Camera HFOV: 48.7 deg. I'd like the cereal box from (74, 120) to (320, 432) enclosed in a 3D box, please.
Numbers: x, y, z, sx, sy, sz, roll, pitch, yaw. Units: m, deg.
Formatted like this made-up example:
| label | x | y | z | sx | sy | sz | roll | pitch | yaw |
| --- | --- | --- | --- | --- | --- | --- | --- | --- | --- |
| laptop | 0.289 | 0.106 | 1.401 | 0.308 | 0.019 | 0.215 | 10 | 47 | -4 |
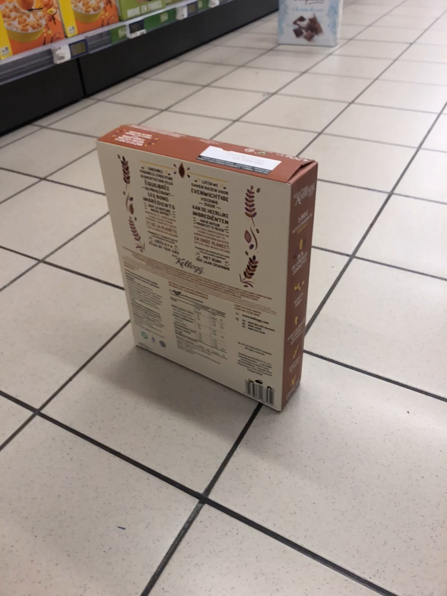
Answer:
| label | x | y | z | sx | sy | sz | roll | pitch | yaw |
| --- | --- | --- | --- | --- | --- | --- | --- | --- | --- |
| cereal box | -0.025 | -0.017 | 0.458 | 0.200 | 0.248 | 0.050 | 20 | 41 | 27 |
